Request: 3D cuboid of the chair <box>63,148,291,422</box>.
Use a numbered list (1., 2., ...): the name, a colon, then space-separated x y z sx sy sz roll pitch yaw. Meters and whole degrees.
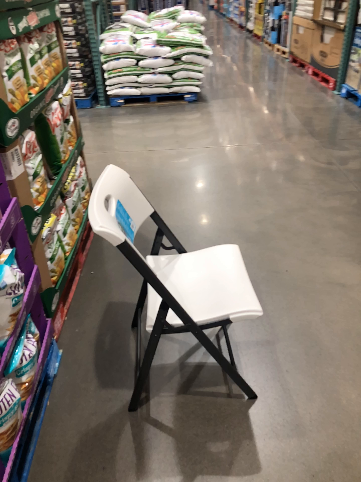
1. chair: -0.010 0.152 1.460 0.594 0.790 0.548 -5 33 -3
